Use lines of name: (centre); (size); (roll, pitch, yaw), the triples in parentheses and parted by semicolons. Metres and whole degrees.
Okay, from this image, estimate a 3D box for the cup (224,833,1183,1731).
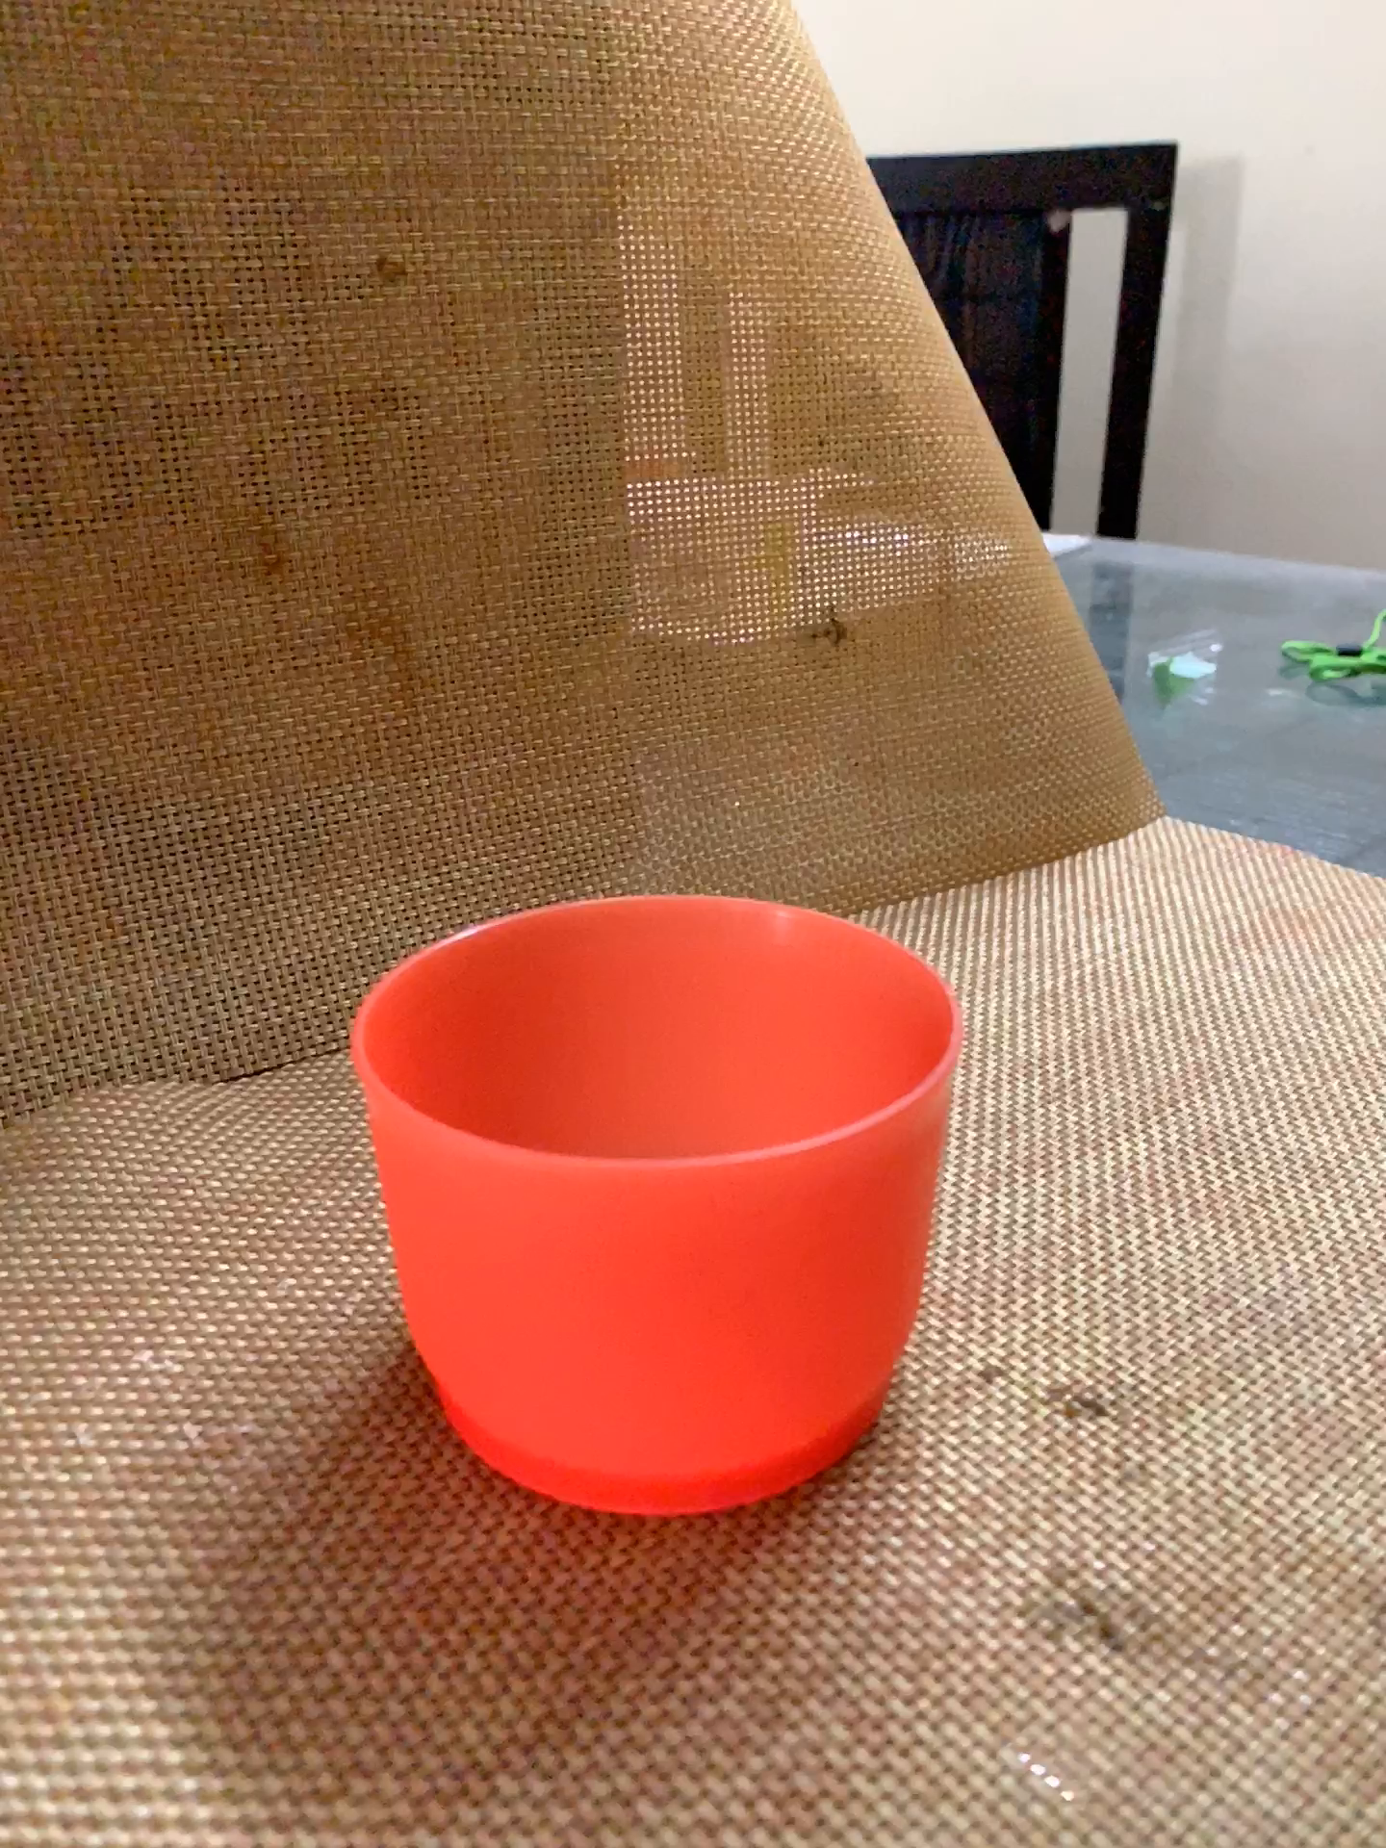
cup: (0.002, 0.031, 0.178); (0.081, 0.050, 0.078); (0, 22, 0)
